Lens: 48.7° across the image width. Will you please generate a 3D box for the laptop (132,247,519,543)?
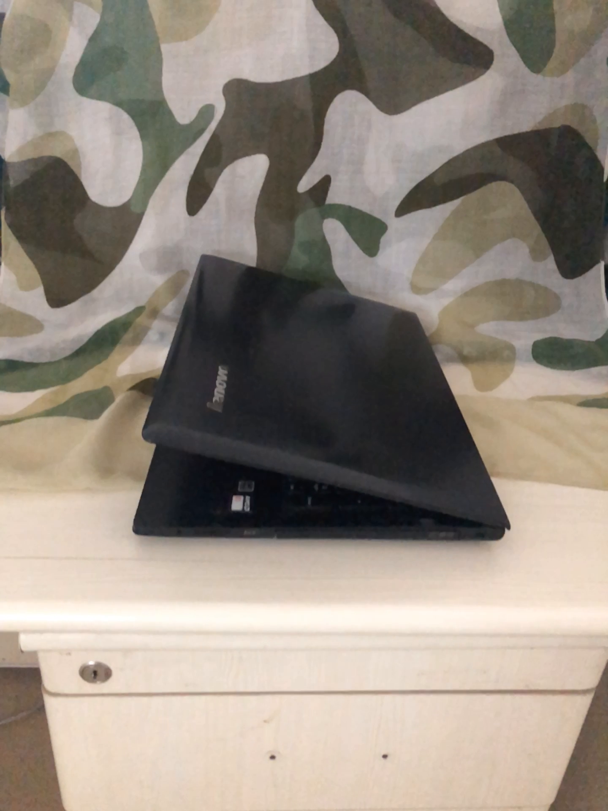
[{"bbox_3d":[0.013,-0.041,0.609,0.249,0.059,0.387,6,30,-4],"label":"laptop"}]
